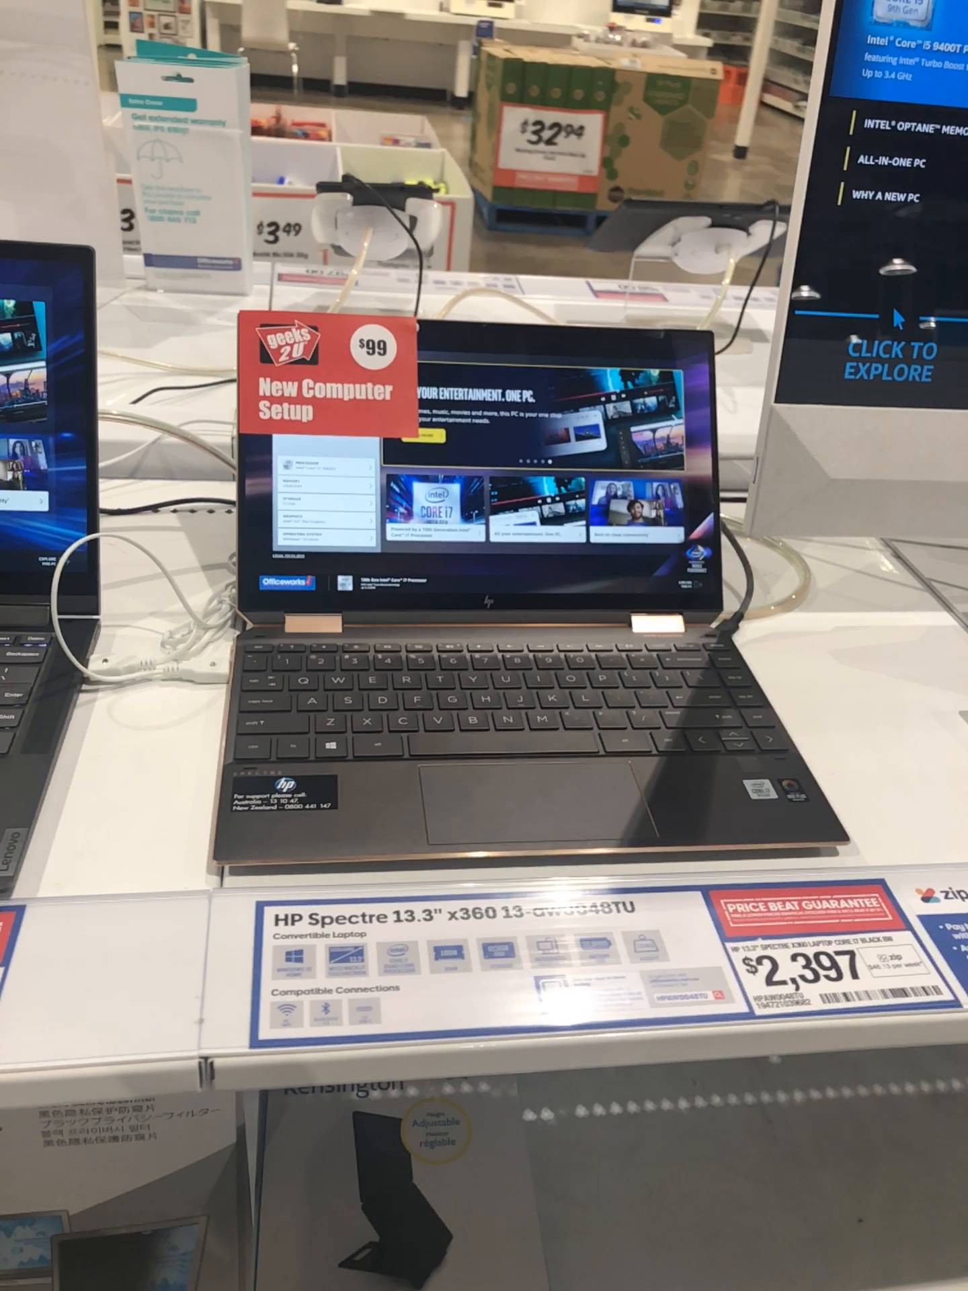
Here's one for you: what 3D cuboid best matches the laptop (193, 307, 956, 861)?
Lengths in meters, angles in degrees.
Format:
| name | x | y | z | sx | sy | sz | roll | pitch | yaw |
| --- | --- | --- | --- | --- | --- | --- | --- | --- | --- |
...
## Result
| name | x | y | z | sx | sy | sz | roll | pitch | yaw |
| --- | --- | --- | --- | --- | --- | --- | --- | --- | --- |
| laptop | 0.016 | -0.056 | 0.579 | 0.298 | 0.147 | 0.315 | 0 | 34 | -8 |
